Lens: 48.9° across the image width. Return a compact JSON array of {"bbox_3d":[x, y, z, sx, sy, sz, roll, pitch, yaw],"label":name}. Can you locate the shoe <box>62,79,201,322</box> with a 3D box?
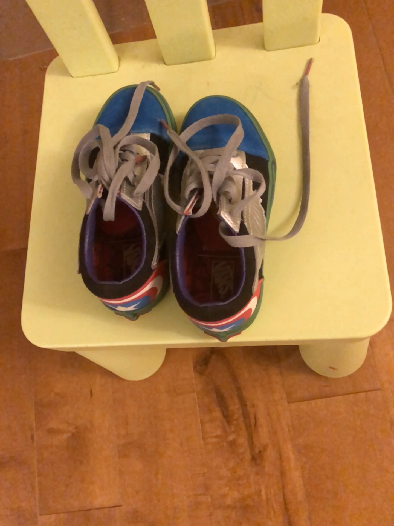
[{"bbox_3d":[-0.049,-0.049,0.381,0.090,0.080,0.190,-2,75,11],"label":"shoe"}]

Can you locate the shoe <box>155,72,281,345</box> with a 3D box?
[{"bbox_3d":[0.019,-0.037,0.331,0.080,0.070,0.190,-2,75,11],"label":"shoe"}]
